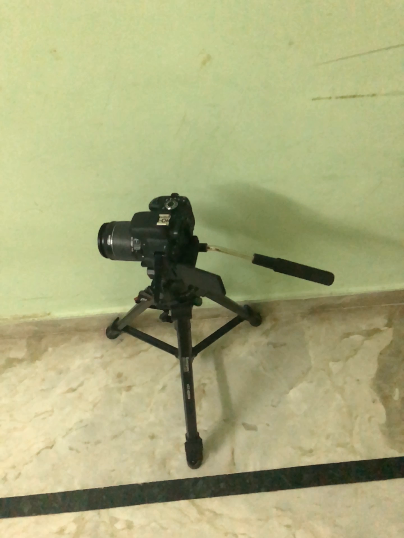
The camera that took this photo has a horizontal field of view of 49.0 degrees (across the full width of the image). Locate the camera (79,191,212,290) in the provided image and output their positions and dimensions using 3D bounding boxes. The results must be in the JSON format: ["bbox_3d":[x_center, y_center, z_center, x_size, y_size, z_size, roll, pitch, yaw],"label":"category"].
[{"bbox_3d":[-0.087,-0.048,0.751,0.190,0.100,0.131,1,58,8],"label":"camera"}]
